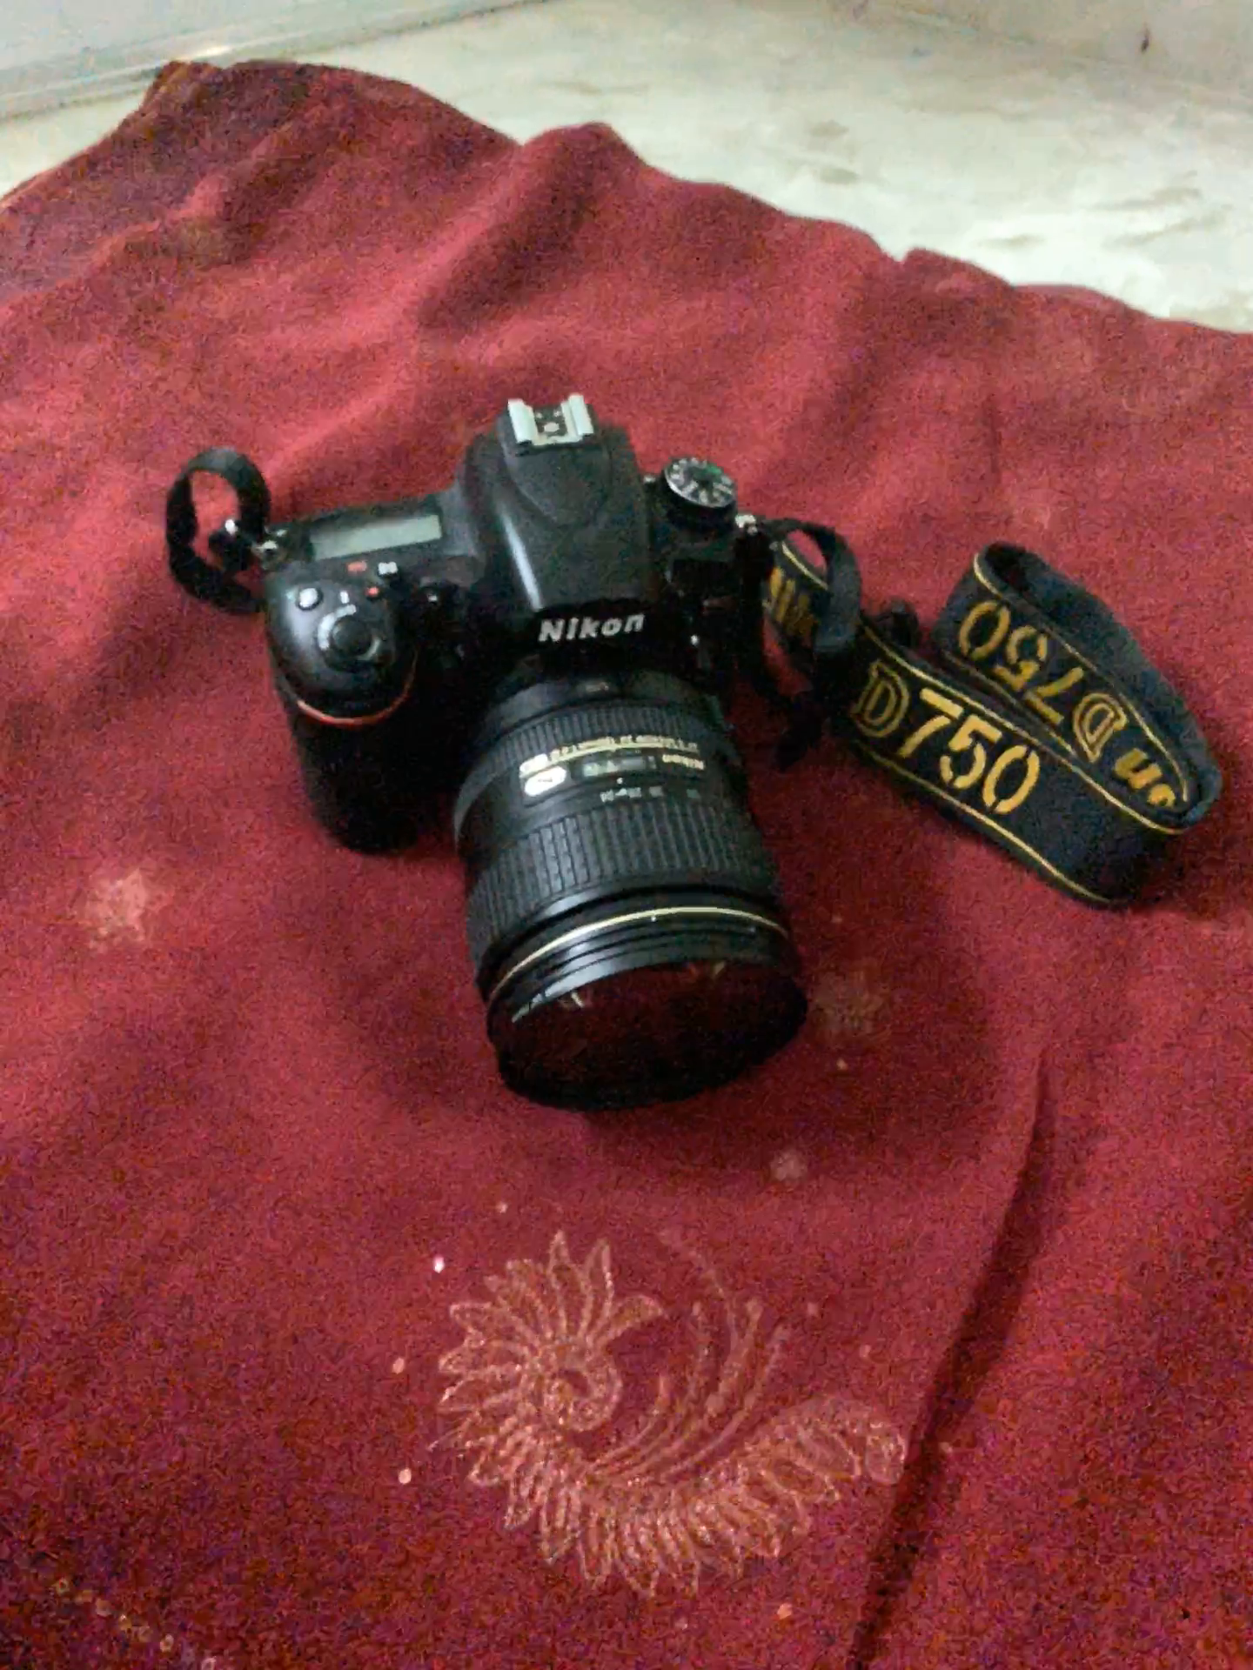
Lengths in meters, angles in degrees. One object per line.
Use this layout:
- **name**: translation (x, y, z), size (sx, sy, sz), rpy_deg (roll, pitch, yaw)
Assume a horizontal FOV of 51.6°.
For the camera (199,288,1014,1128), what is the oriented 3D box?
- **camera**: translation (-0.016, -0.036, 0.325), size (0.150, 0.110, 0.160), rpy_deg (-8, 54, -7)
